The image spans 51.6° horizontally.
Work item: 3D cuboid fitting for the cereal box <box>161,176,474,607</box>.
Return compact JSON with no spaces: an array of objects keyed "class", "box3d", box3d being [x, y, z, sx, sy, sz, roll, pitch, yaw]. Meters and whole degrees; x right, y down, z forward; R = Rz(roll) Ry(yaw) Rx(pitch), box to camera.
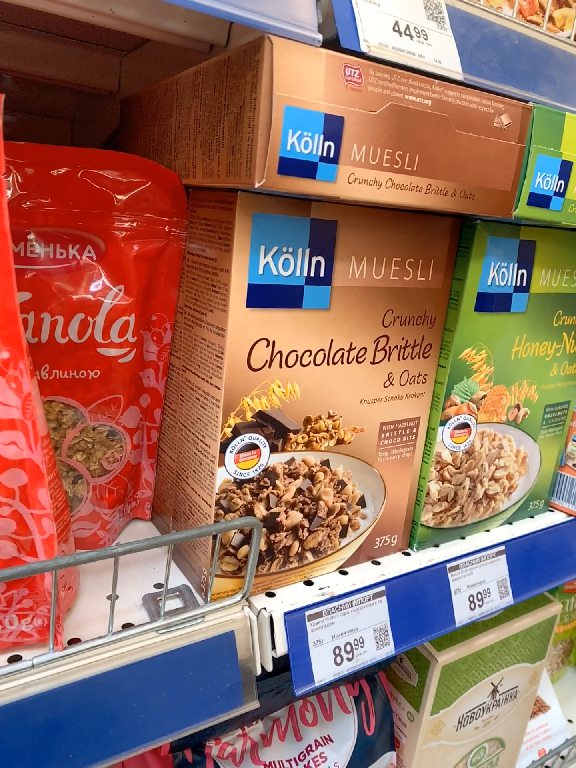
[{"class":"cereal box","box3d":[0.015,0.000,0.343,0.150,0.209,0.060,-3,16,-33]}]
